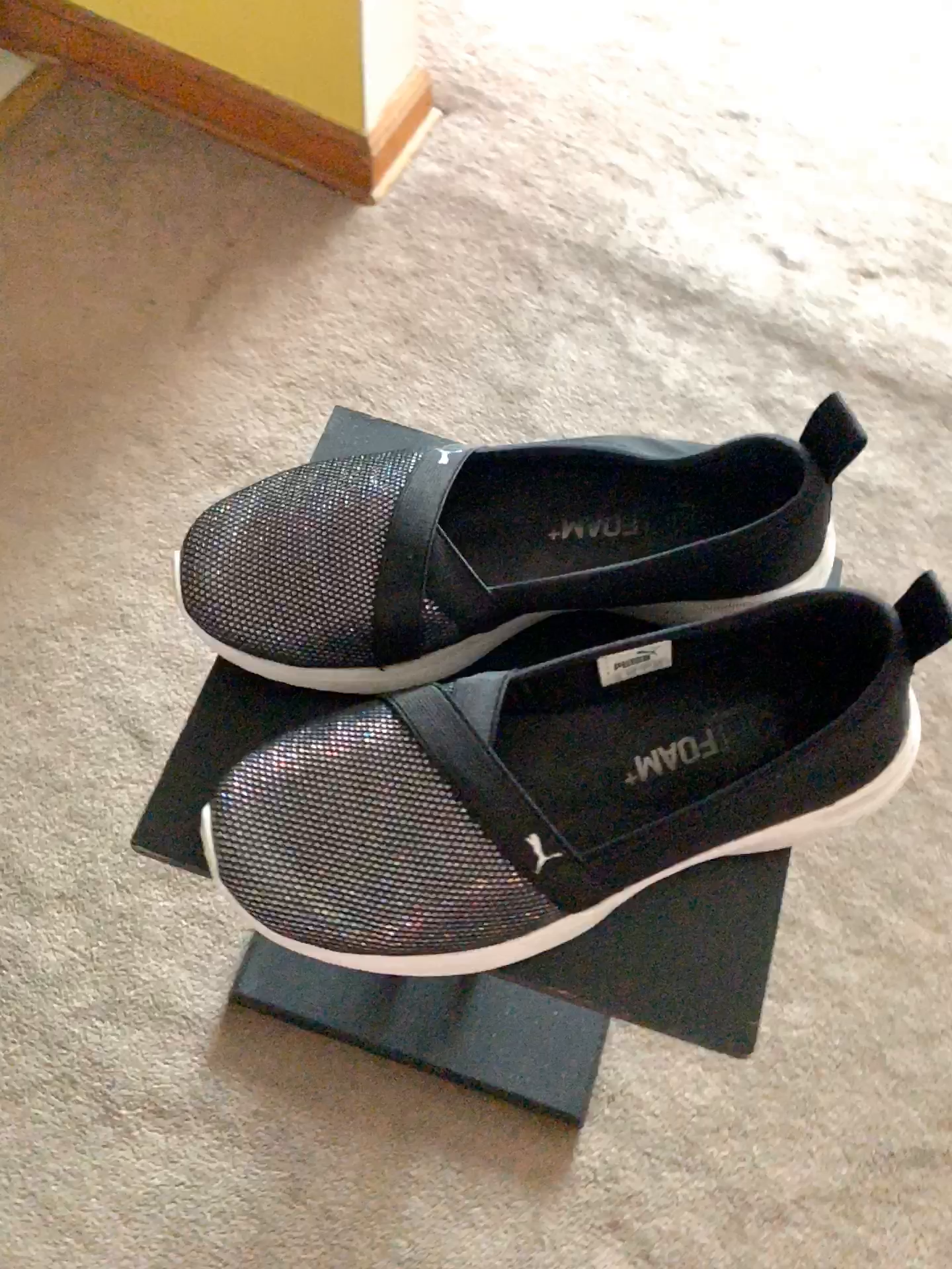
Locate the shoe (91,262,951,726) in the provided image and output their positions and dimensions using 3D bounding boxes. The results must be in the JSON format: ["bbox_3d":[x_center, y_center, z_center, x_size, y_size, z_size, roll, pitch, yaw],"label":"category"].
[{"bbox_3d":[0.015,-0.047,0.341,0.260,0.099,0.100,-6,67,-8],"label":"shoe"}]

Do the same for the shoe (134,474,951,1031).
[{"bbox_3d":[0.040,0.039,0.311,0.256,0.099,0.100,-11,68,-10],"label":"shoe"}]
